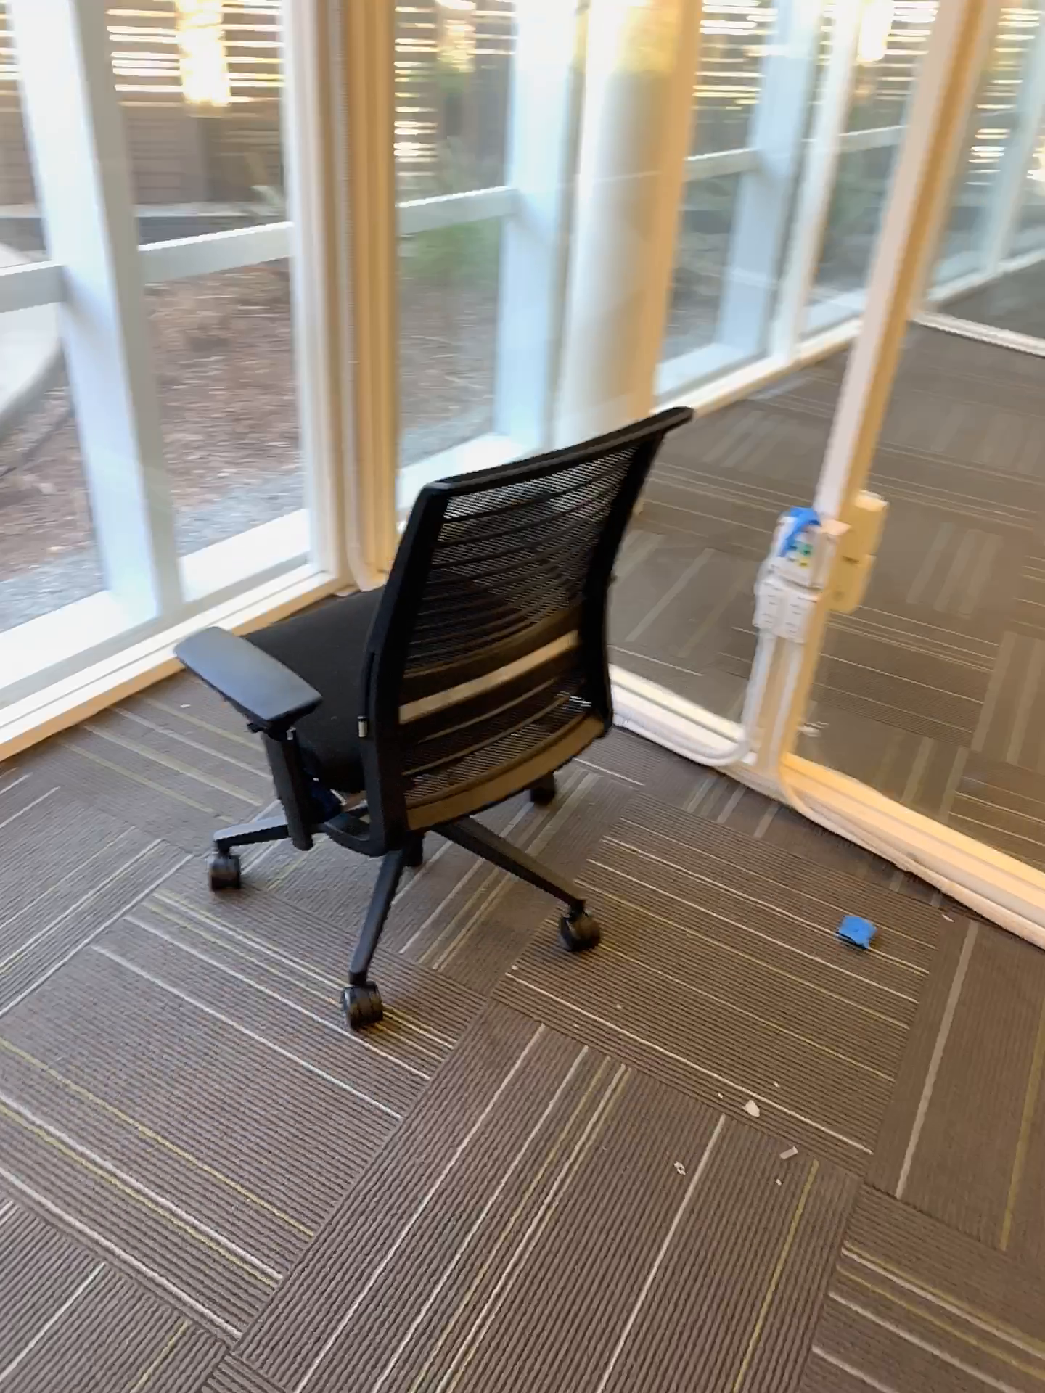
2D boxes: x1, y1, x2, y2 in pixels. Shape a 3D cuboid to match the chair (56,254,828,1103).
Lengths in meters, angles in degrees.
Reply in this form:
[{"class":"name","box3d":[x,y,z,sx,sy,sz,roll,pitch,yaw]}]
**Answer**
[{"class":"chair","box3d":[-0.140,-0.094,1.643,0.701,0.895,0.733,-25,44,-36]}]
